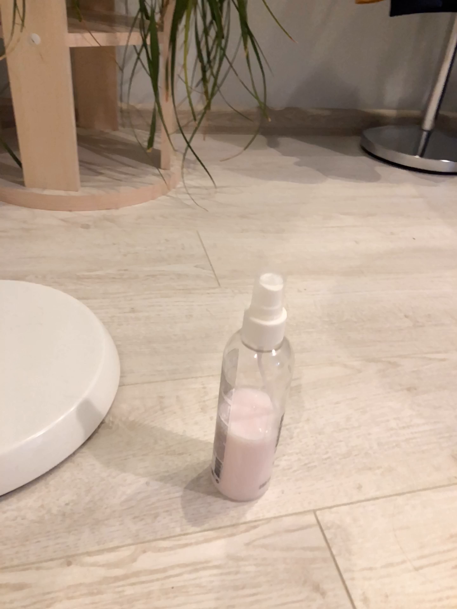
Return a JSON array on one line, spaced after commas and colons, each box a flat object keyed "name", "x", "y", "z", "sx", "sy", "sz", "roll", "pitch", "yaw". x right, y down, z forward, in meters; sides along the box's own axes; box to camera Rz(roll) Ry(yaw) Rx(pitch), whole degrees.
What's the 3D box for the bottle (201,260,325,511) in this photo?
[{"name": "bottle", "x": 0.016, "y": 0.062, "z": 0.349, "sx": 0.054, "sy": 0.183, "sz": 0.049, "roll": -4, "pitch": 35, "yaw": -13}]
